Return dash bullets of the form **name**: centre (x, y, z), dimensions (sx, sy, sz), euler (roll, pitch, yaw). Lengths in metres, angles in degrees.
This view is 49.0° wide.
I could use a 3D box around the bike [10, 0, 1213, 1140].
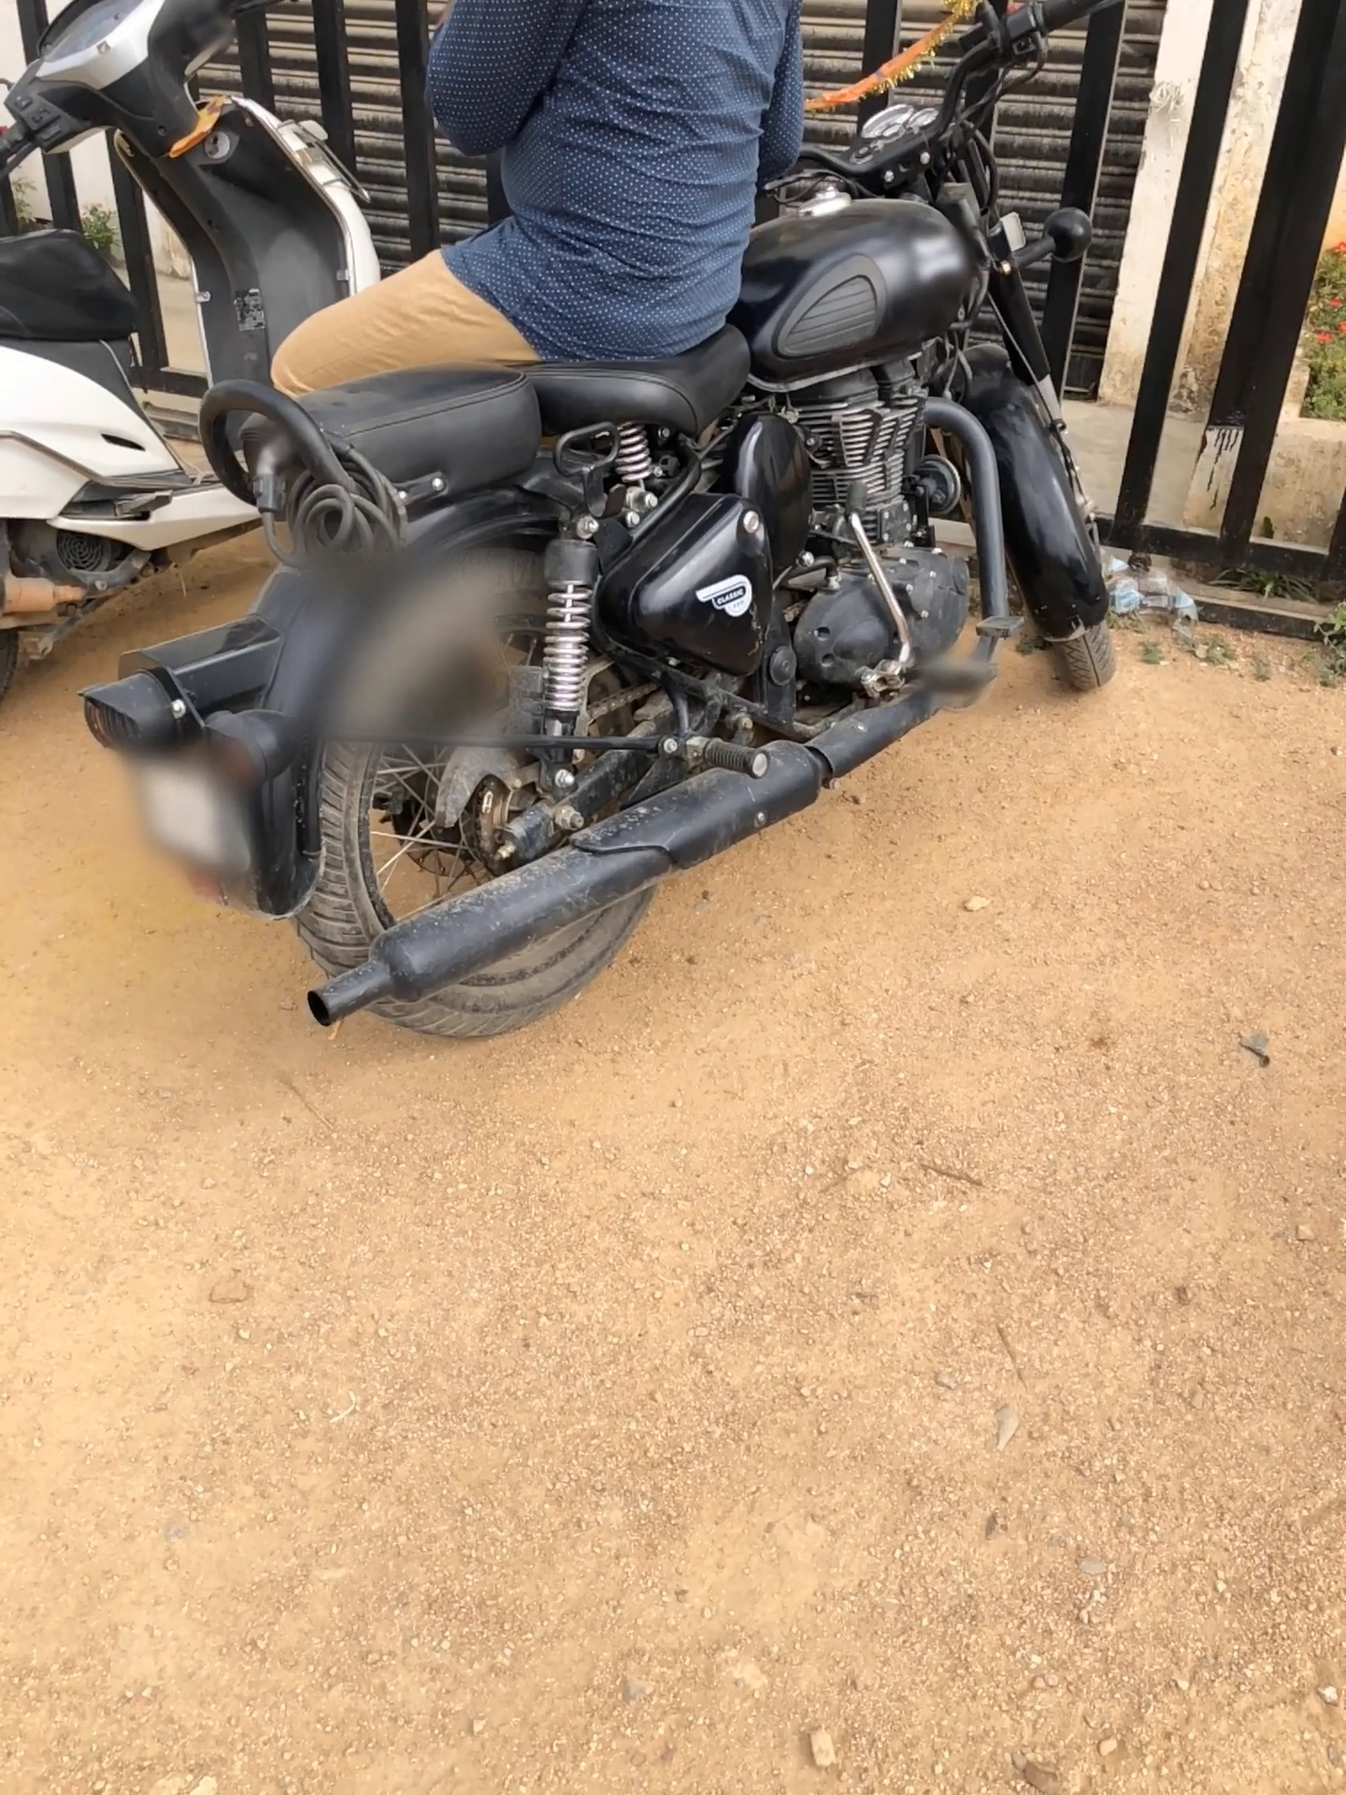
- **bike**: centre (0.057, -0.870, 2.187), dimensions (0.723, 1.169, 1.817), euler (20, 43, 27)
